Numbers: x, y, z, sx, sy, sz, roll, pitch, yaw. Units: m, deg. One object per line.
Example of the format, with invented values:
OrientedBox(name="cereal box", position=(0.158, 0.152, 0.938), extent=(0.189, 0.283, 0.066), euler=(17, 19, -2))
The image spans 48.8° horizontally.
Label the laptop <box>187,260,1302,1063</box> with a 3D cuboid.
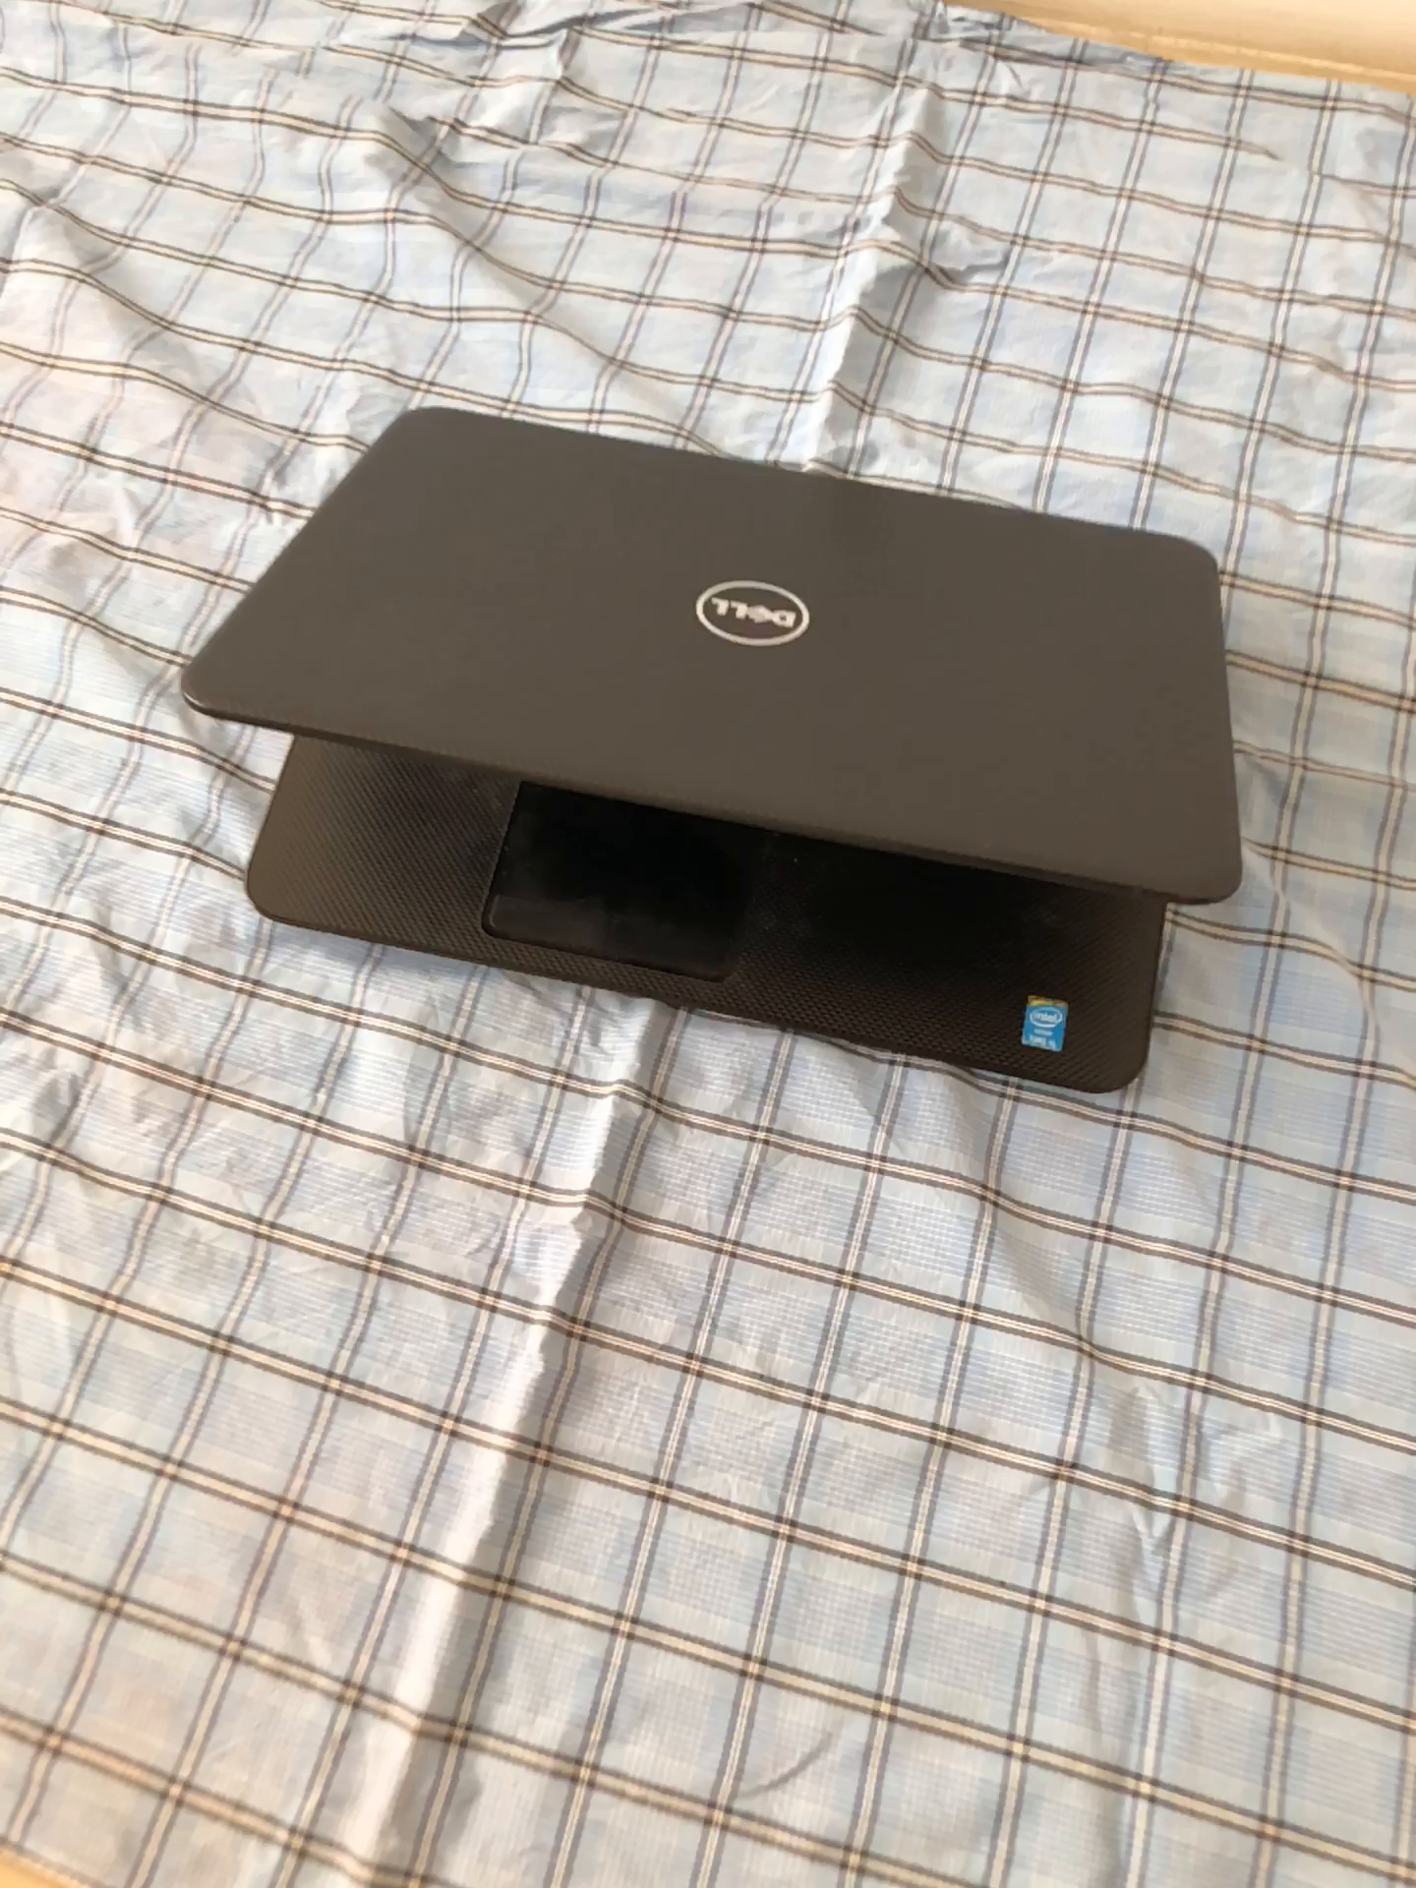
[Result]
OrientedBox(name="laptop", position=(0.022, -0.110, 0.596), extent=(0.350, 0.099, 0.223), euler=(12, 69, 5))
